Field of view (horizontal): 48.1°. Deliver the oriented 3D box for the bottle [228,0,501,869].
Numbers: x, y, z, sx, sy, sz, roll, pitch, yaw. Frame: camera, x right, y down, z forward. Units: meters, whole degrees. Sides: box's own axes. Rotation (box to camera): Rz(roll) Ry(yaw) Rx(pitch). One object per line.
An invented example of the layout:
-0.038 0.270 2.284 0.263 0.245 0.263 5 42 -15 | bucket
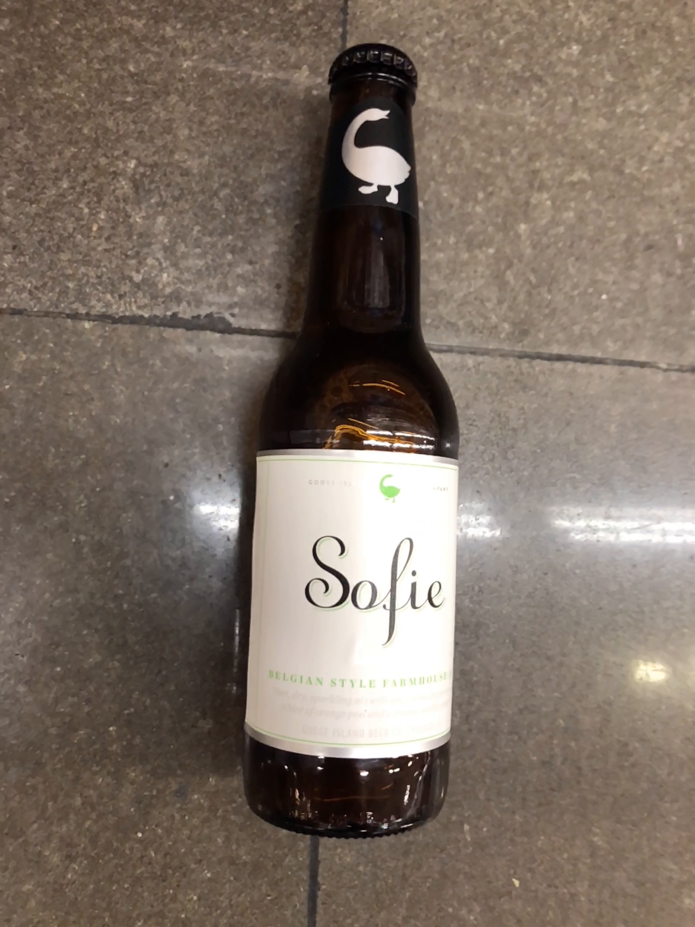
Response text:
0.004 -0.017 0.229 0.070 0.040 0.240 2 86 -12 | bottle
